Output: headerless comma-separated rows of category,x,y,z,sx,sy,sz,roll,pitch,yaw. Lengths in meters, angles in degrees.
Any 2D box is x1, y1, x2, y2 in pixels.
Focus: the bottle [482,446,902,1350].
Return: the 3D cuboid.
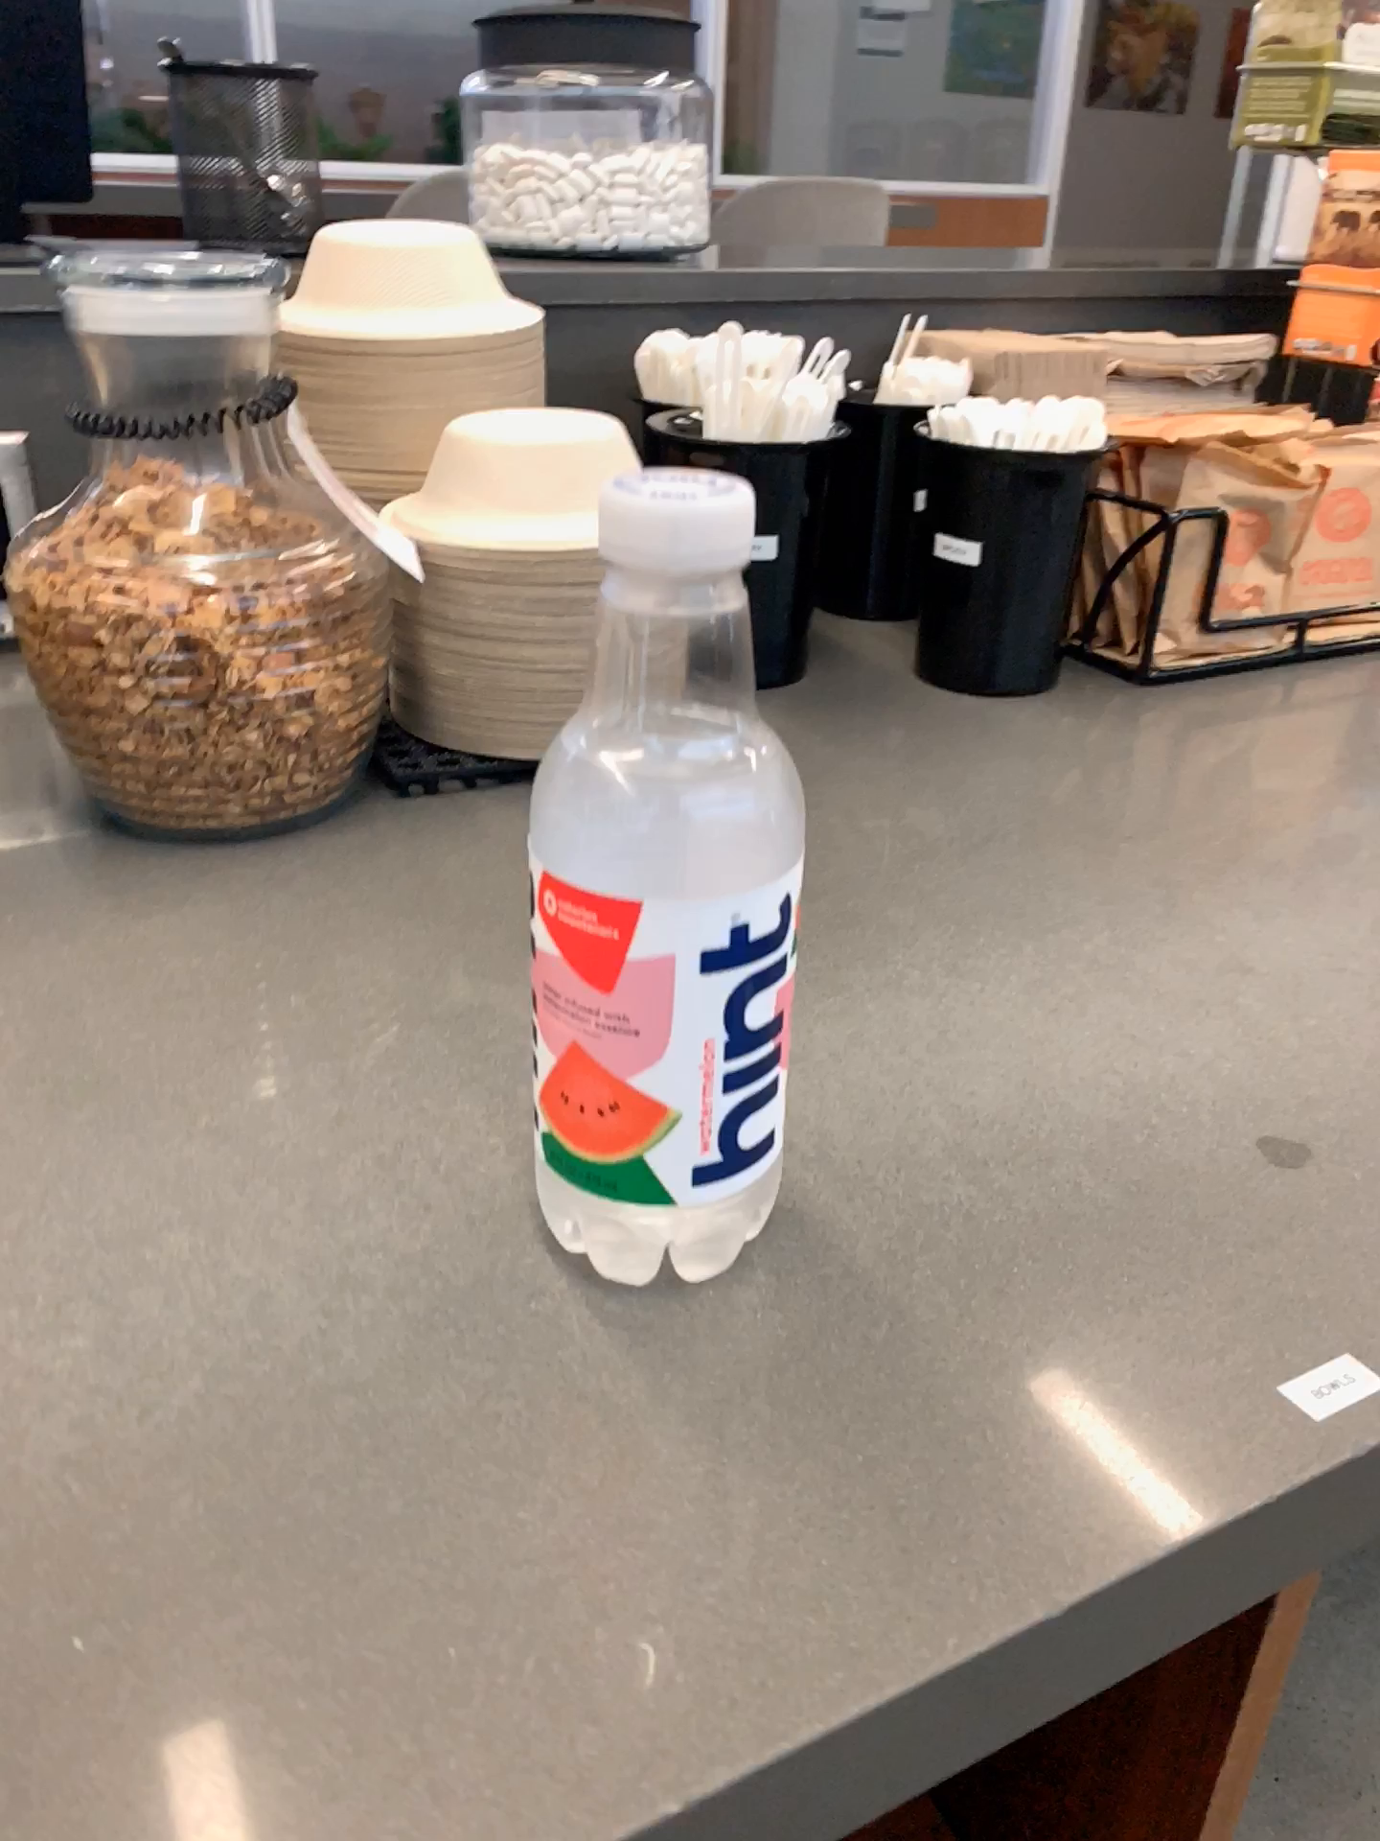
bottle,0.000,-0.003,0.346,0.070,0.199,0.070,2,27,-1
